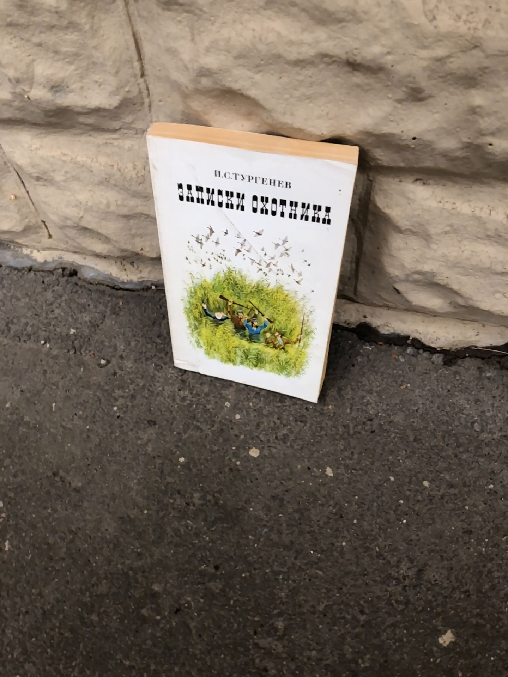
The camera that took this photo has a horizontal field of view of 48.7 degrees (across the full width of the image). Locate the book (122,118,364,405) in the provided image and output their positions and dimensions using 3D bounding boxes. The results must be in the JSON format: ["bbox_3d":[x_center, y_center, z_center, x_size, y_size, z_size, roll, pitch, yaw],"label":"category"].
[{"bbox_3d":[-0.009,-0.044,0.384,0.137,0.183,0.032,12,42,13],"label":"book"}]
